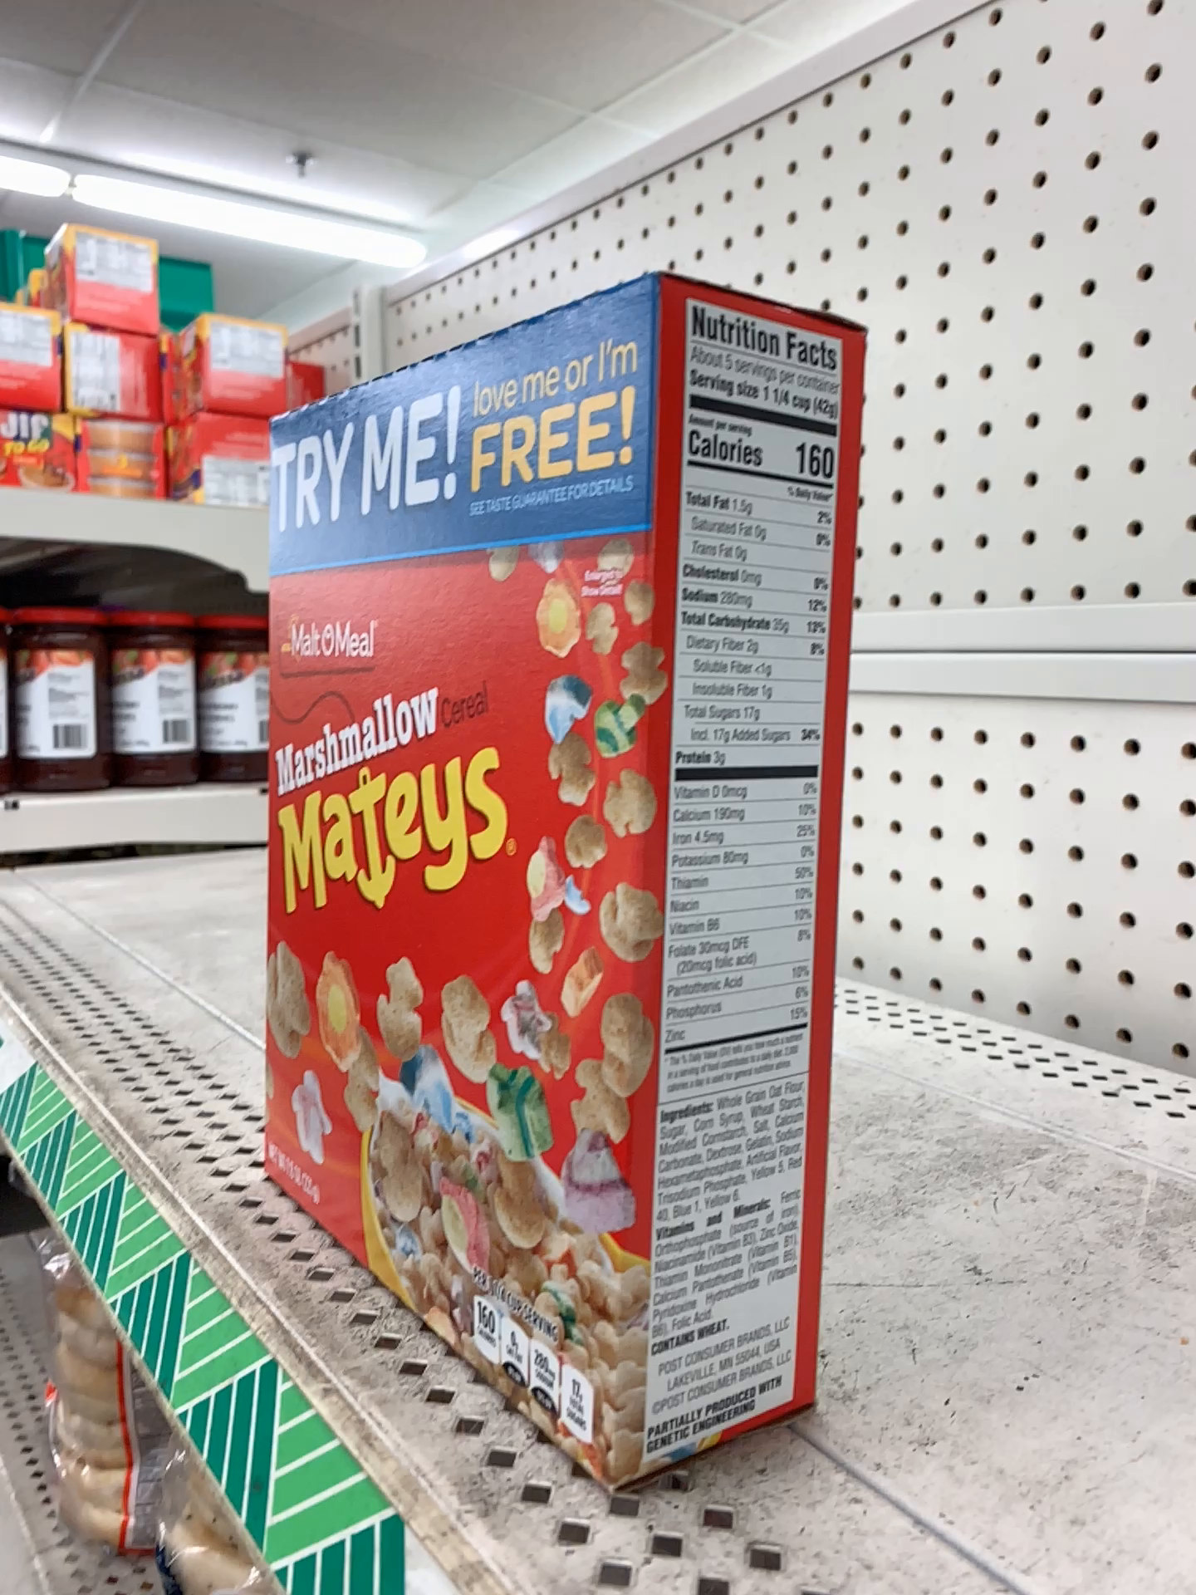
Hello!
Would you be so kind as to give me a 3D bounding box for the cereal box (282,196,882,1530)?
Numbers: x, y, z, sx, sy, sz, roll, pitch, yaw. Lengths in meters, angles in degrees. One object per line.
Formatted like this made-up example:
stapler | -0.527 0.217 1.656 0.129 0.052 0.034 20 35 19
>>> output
cereal box | -0.020 0.007 0.300 0.050 0.230 0.180 -3 6 -34
